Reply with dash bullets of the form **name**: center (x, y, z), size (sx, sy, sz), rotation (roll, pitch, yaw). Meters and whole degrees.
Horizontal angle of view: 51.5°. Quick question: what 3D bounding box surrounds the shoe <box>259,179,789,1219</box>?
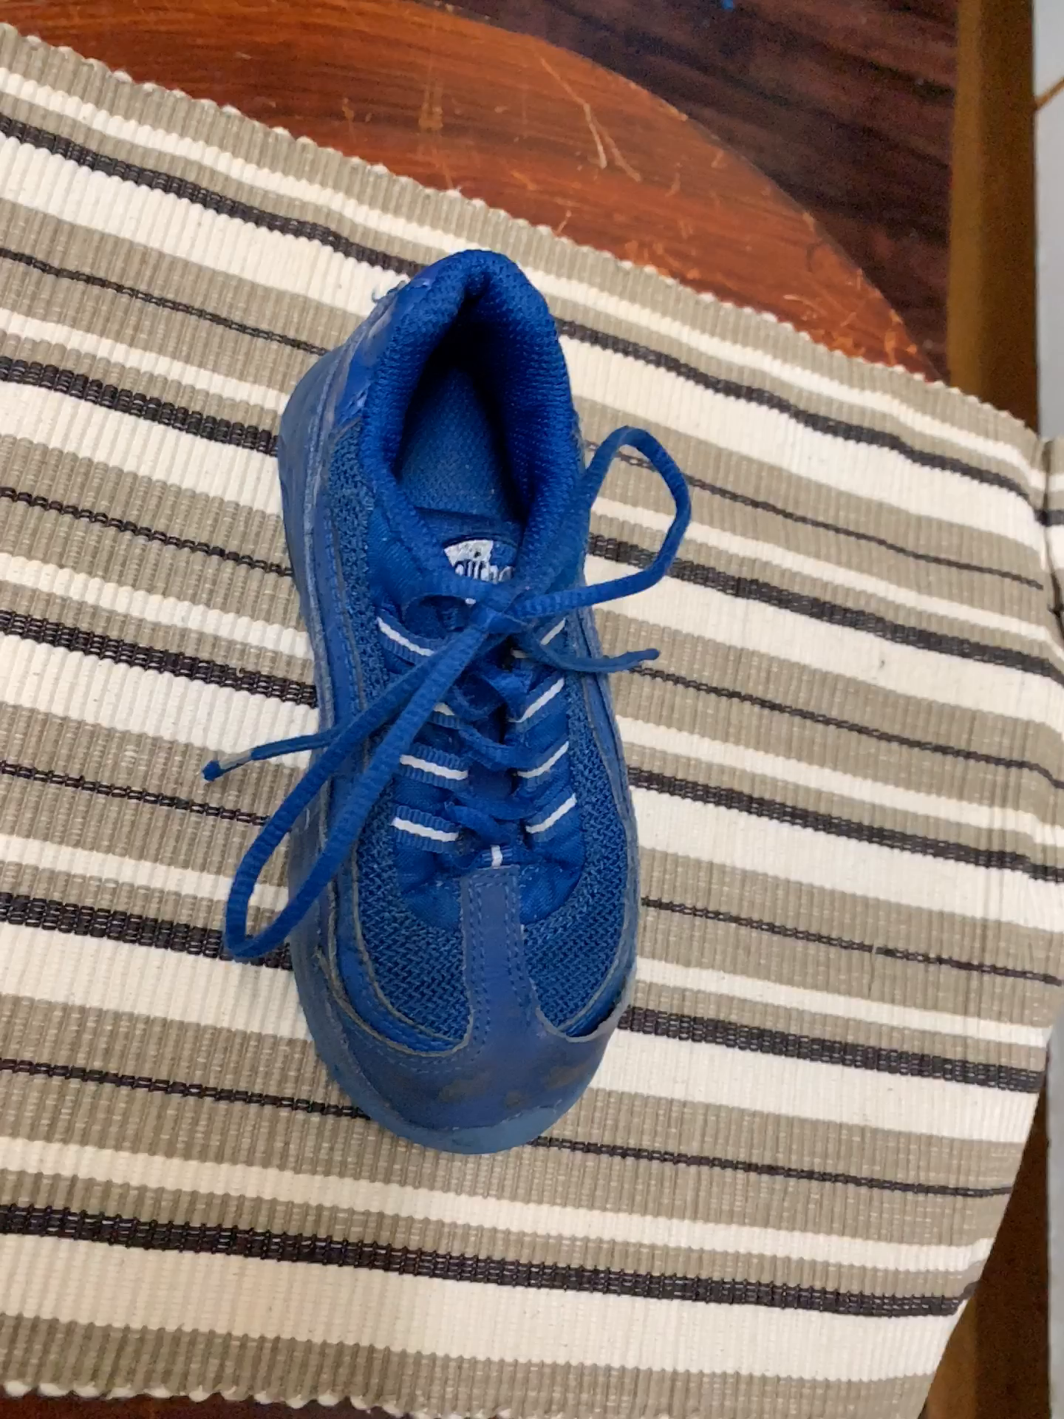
- **shoe**: center (-0.011, -0.003, 0.231), size (0.073, 0.079, 0.175), rotation (-2, 79, -19)
